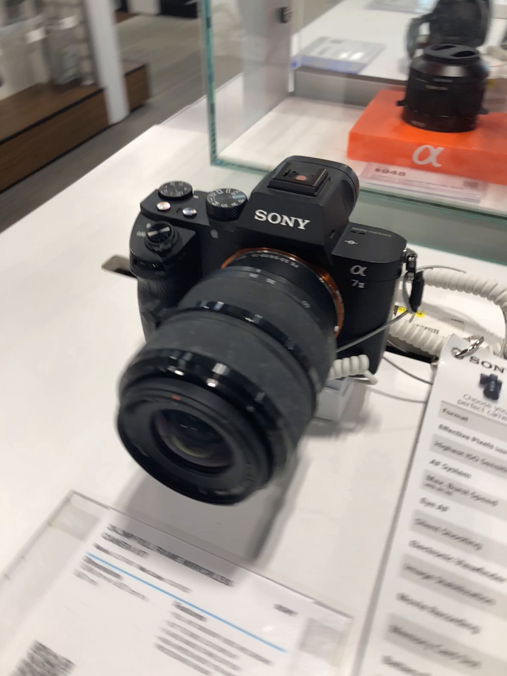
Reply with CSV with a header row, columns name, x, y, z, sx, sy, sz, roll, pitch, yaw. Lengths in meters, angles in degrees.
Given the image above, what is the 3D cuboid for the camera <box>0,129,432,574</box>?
name,x,y,z,sx,sy,sz,roll,pitch,yaw
camera,-0.011,-0.009,0.236,0.130,0.089,0.141,15,44,17
